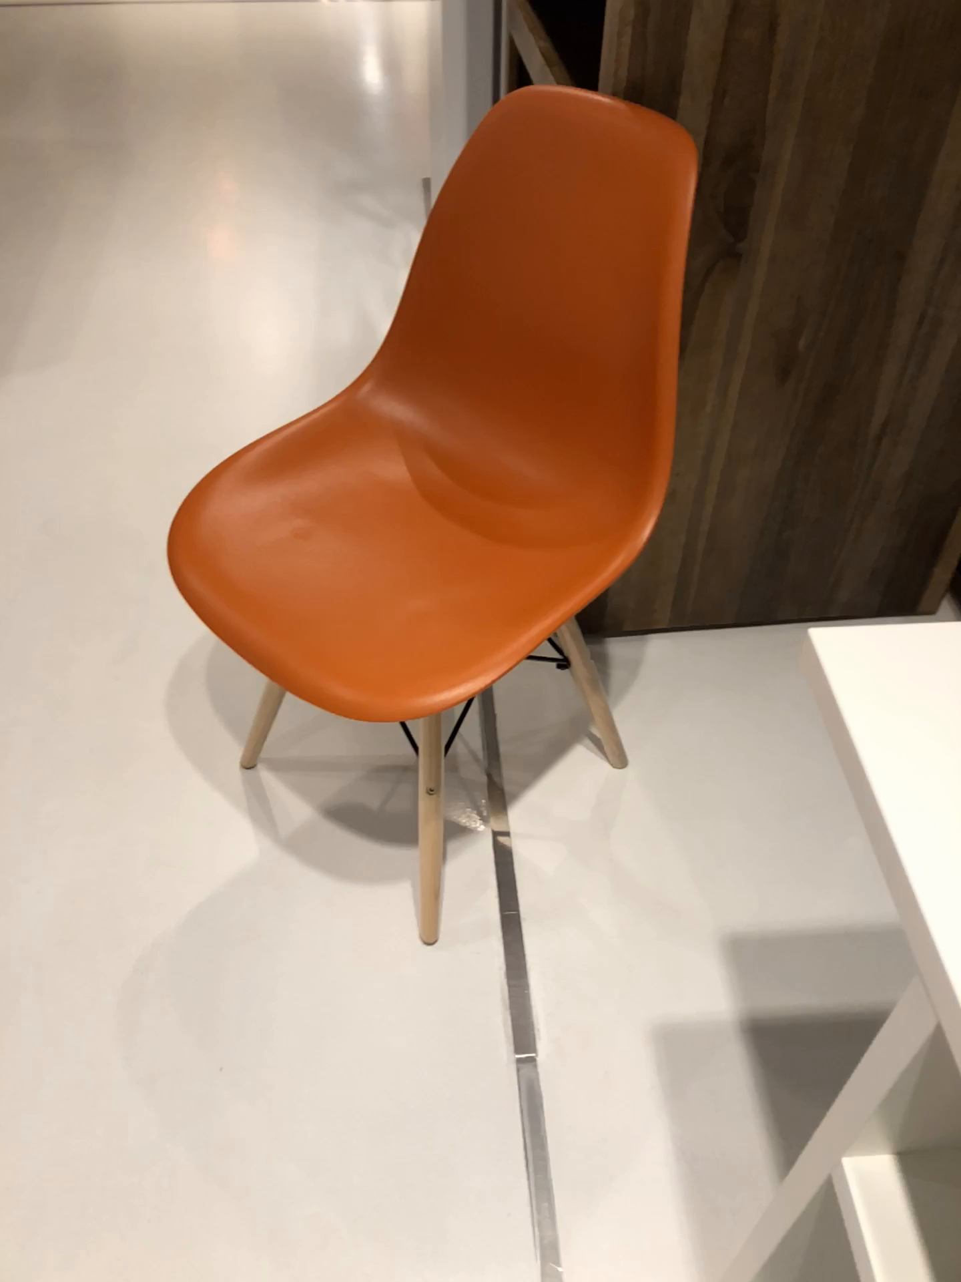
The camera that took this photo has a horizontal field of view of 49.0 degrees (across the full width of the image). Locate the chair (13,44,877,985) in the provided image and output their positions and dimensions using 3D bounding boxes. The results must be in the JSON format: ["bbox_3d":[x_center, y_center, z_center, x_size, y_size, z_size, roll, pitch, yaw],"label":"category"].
[{"bbox_3d":[-0.025,-0.142,1.194,0.491,0.744,0.583,36,55,29],"label":"chair"}]
